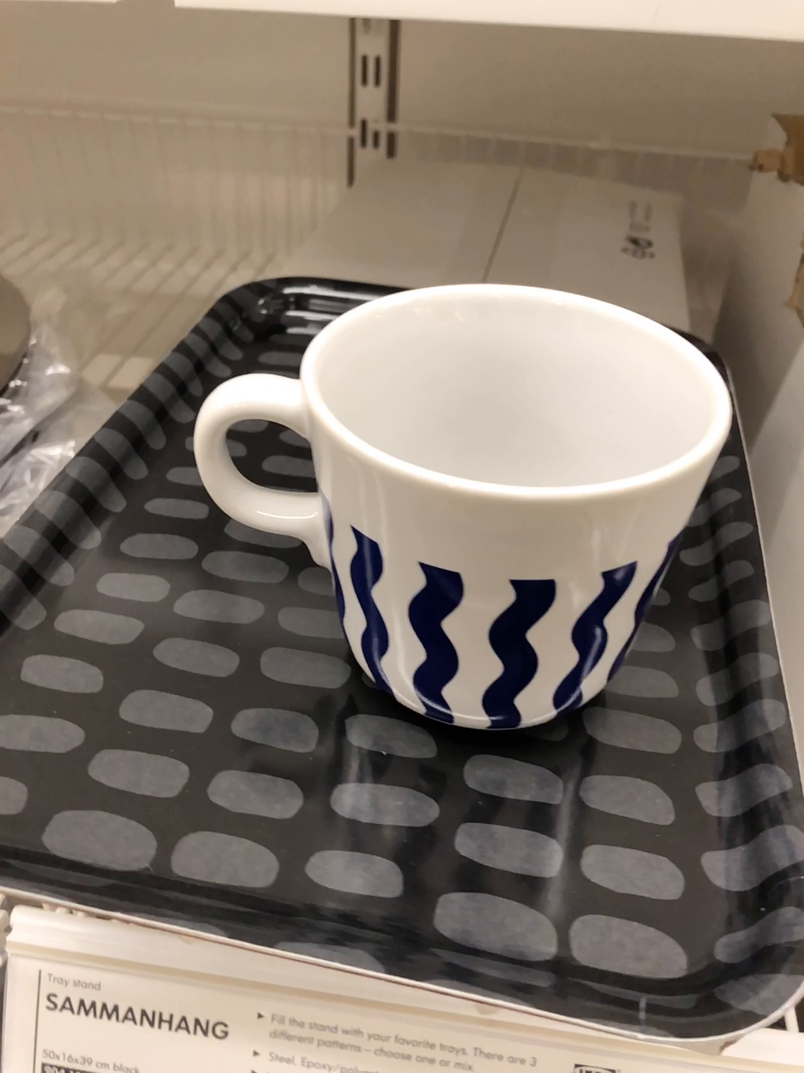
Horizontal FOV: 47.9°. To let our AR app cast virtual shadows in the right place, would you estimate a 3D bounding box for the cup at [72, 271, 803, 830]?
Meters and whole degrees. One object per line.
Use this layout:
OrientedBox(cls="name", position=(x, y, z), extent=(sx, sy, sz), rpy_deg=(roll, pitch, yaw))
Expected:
OrientedBox(cls="cup", position=(0.008, -0.002, 0.205), extent=(0.120, 0.080, 0.090), rpy_deg=(4, 35, 3))
